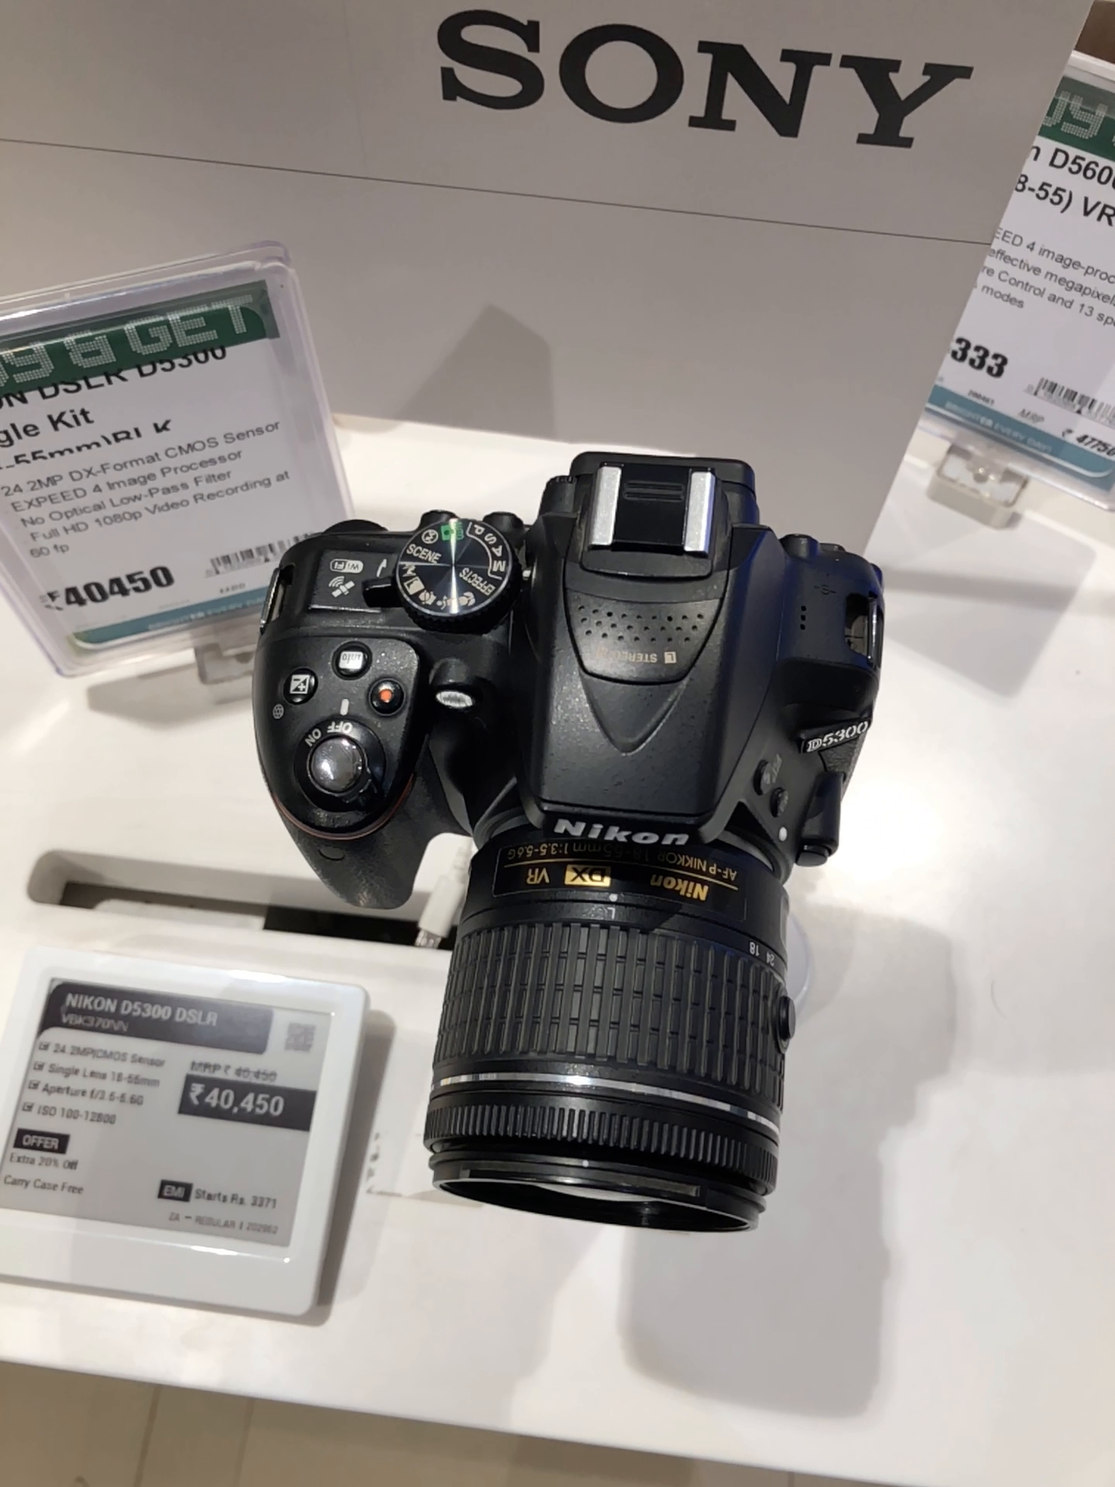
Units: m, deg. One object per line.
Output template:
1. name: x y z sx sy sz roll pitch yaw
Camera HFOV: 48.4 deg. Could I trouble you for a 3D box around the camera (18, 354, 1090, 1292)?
1. camera: 0.004 0.018 0.239 0.140 0.100 0.141 5 61 1
